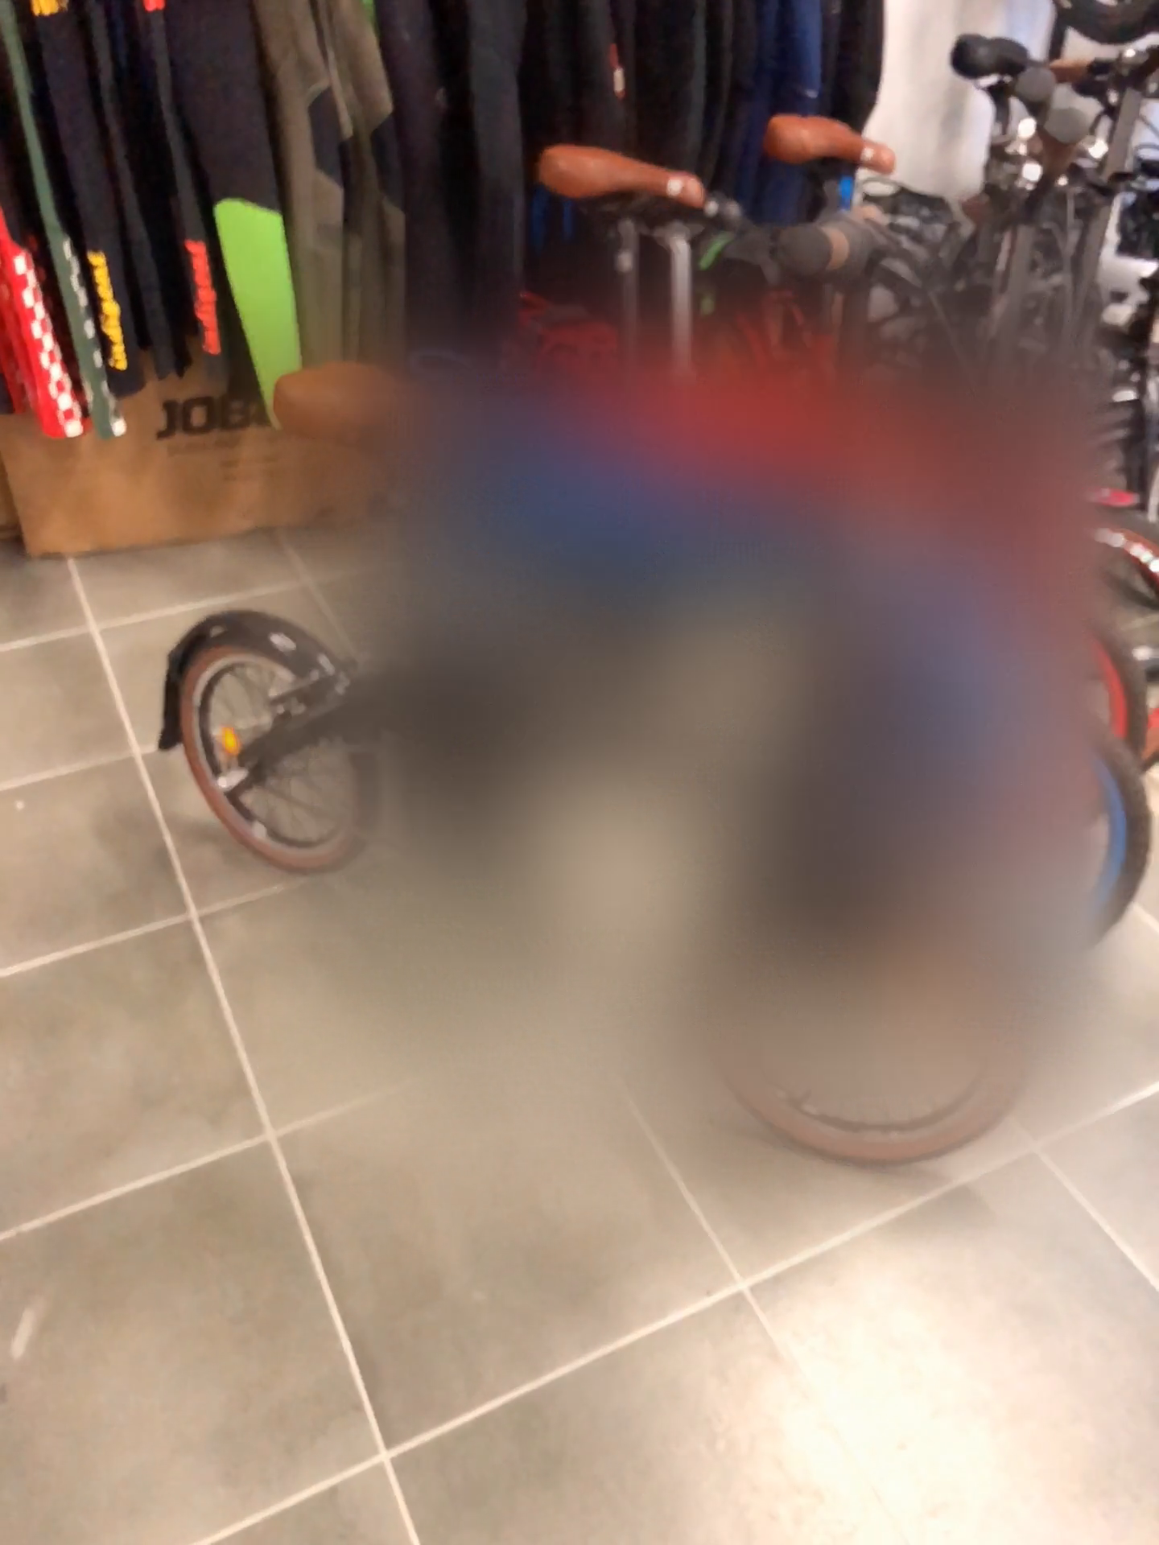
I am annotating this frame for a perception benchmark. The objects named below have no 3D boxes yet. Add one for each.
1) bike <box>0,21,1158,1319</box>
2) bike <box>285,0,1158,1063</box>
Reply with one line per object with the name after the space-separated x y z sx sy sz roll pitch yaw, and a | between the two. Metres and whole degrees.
-0.030 -0.187 1.504 1.274 1.057 0.567 20 42 23 | bike
0.294 -0.457 1.915 1.375 1.029 0.569 30 47 29 | bike
